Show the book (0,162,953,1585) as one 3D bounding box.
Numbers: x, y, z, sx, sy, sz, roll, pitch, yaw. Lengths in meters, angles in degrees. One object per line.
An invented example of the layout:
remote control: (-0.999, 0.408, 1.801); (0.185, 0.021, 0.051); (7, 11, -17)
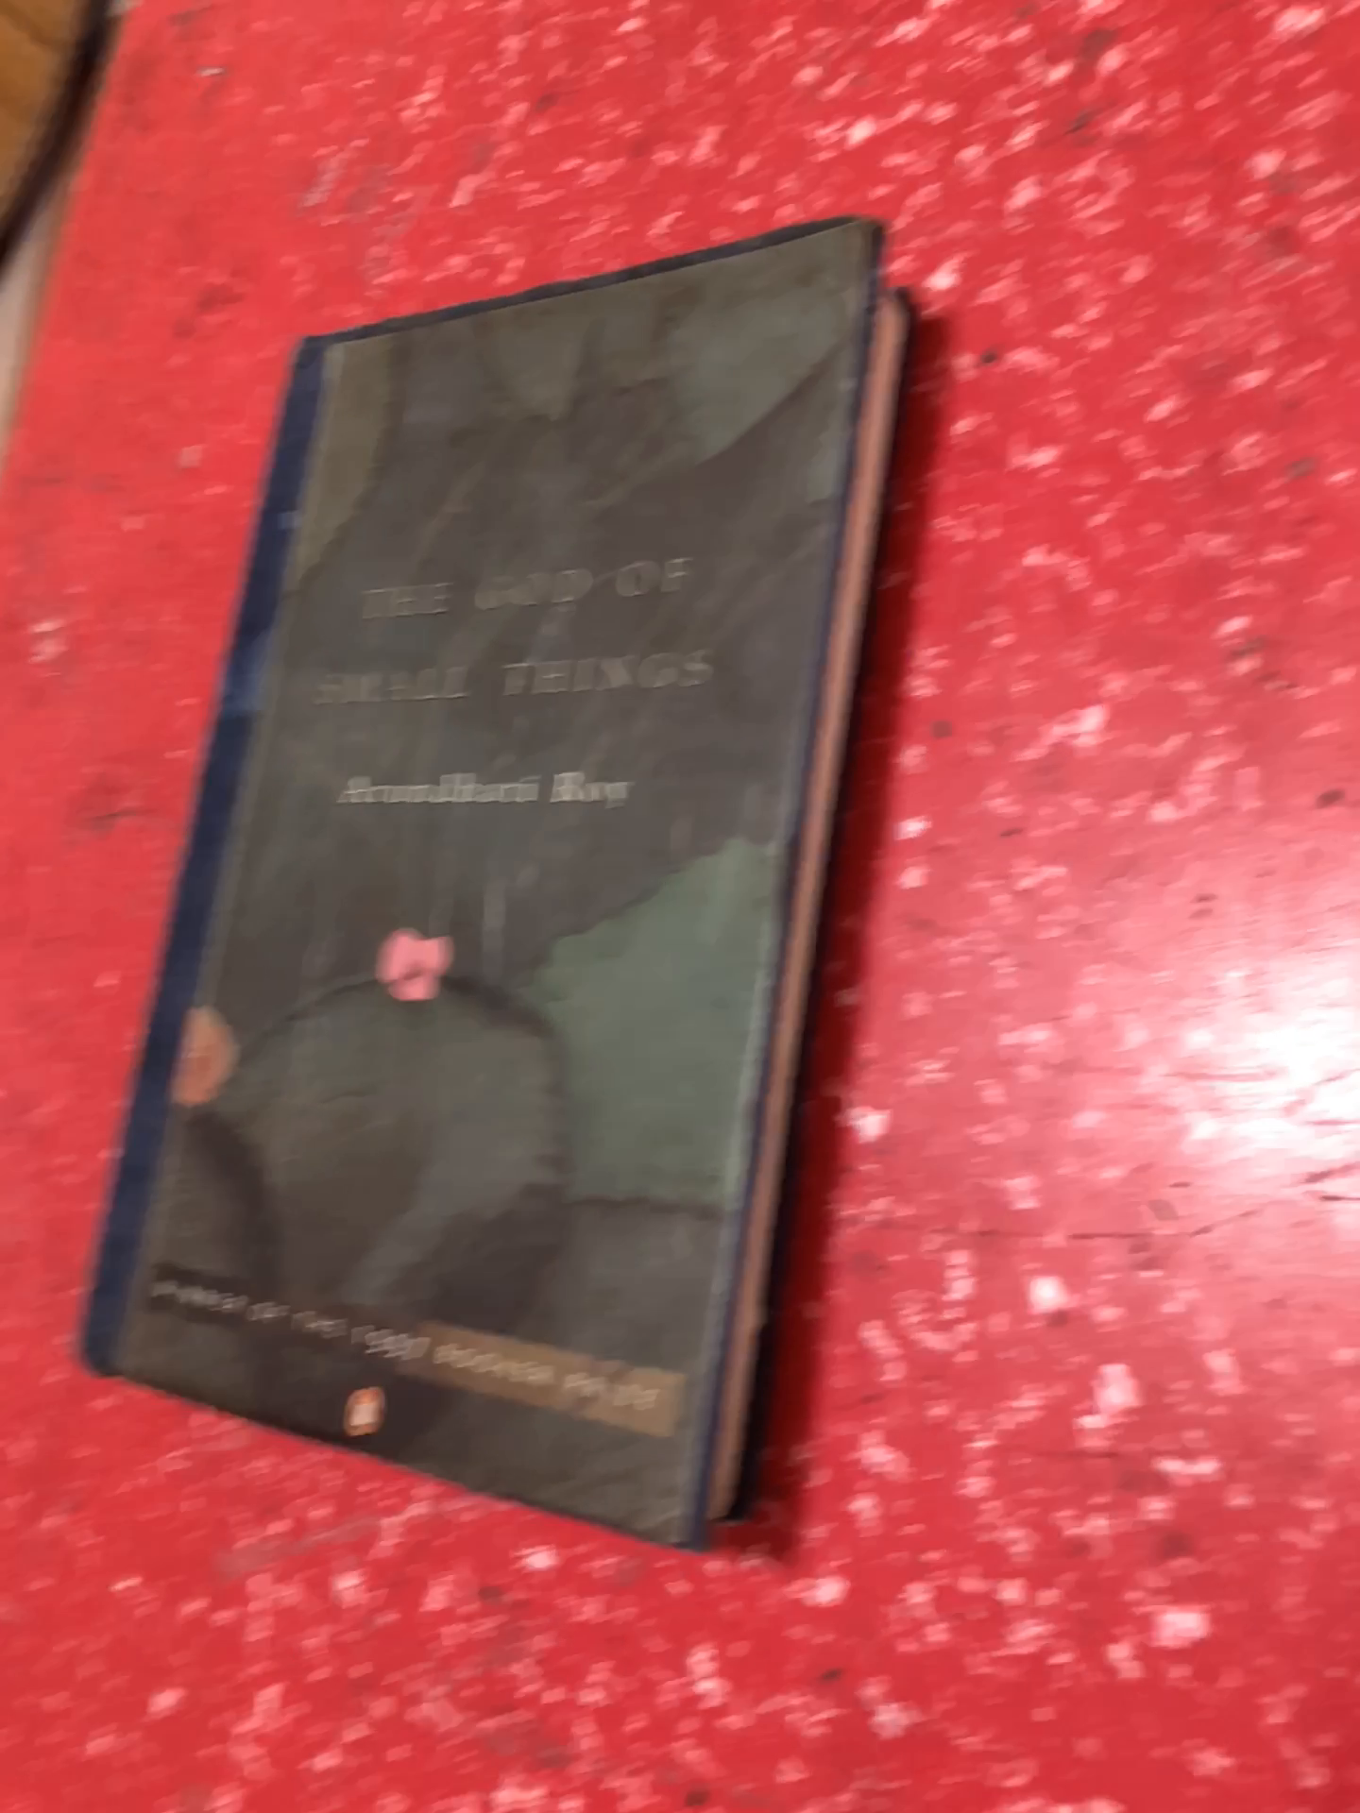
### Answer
book: (-0.040, -0.012, 0.283); (0.151, 0.040, 0.220); (1, 76, 32)
